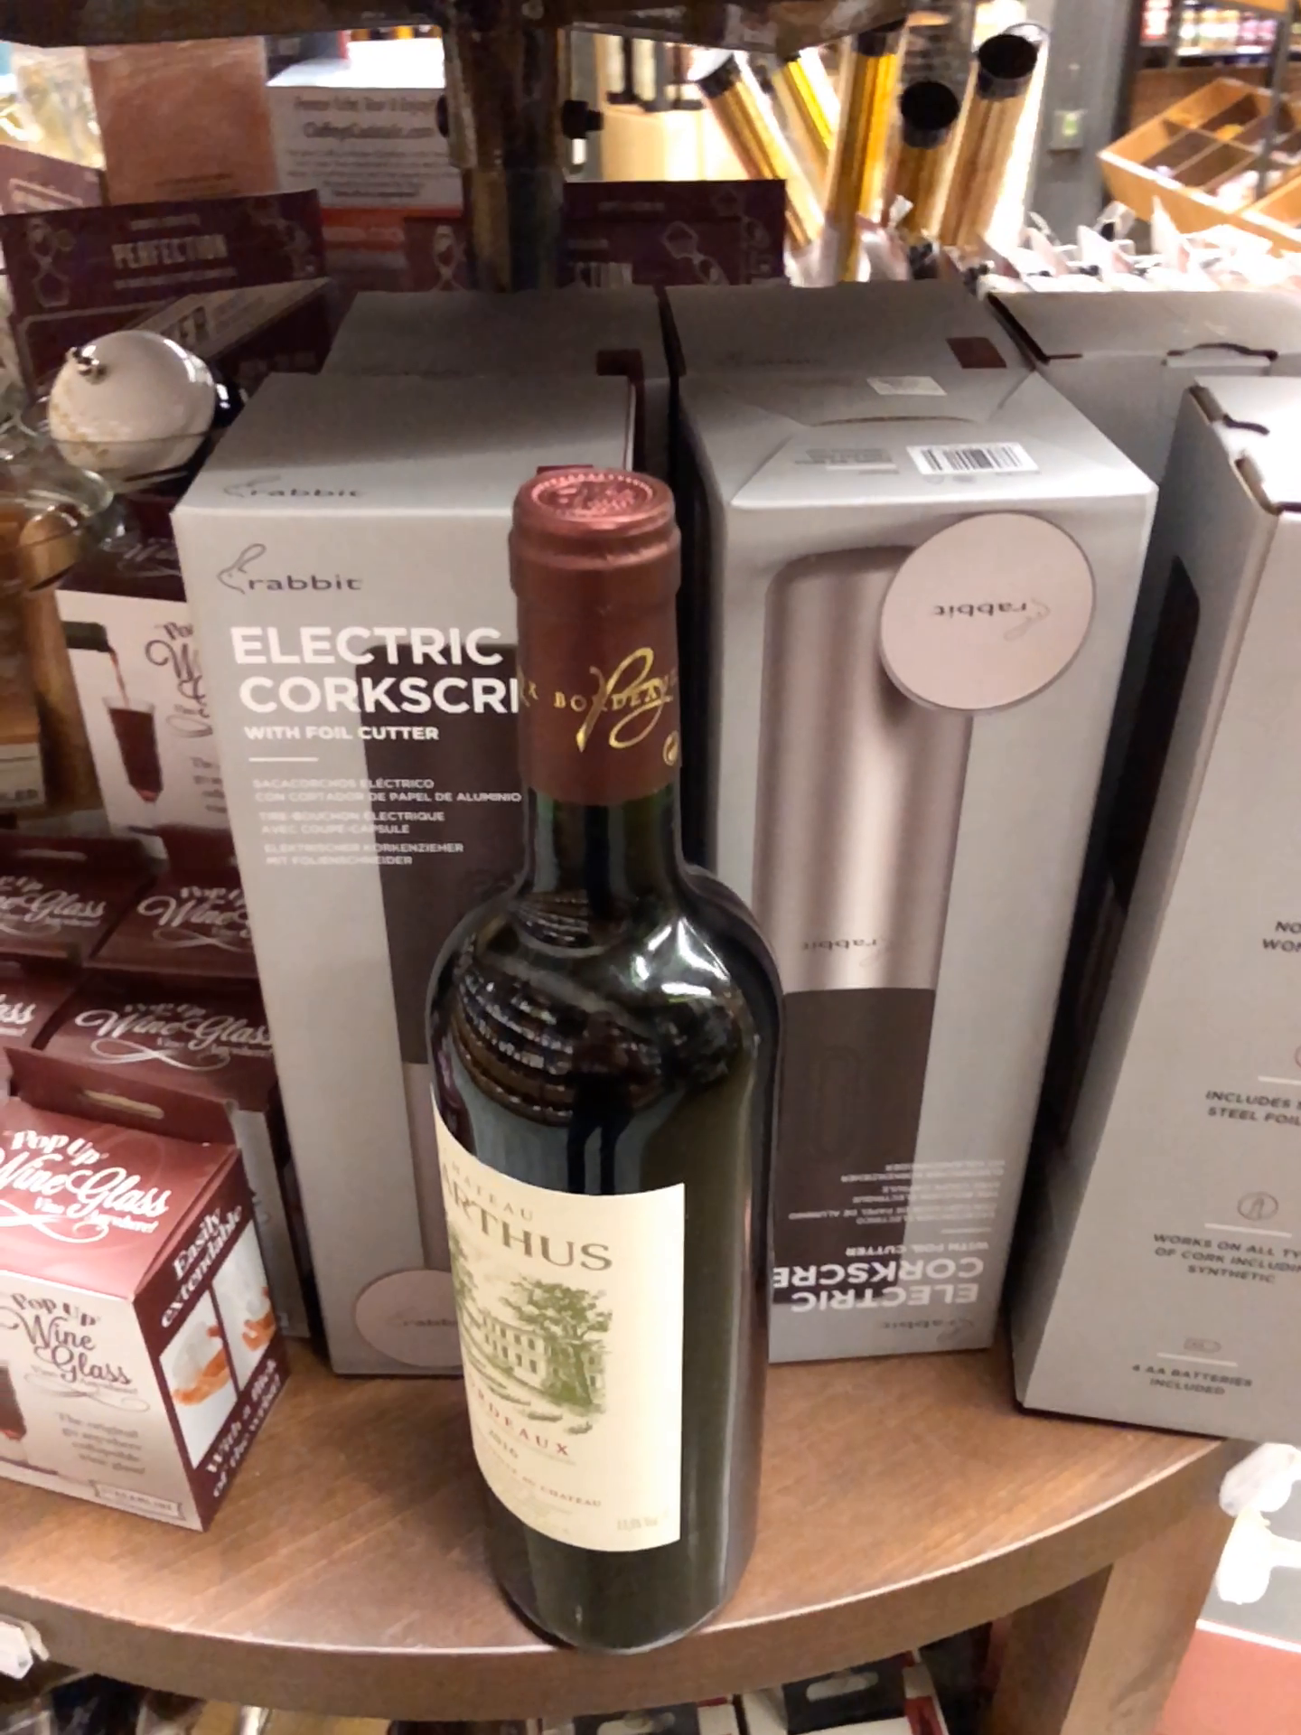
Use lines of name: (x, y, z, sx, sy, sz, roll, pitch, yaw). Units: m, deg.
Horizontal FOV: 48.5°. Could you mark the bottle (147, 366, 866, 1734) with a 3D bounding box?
bottle: (-0.017, 0.060, 0.311, 0.080, 0.299, 0.080, -1, 34, 1)
